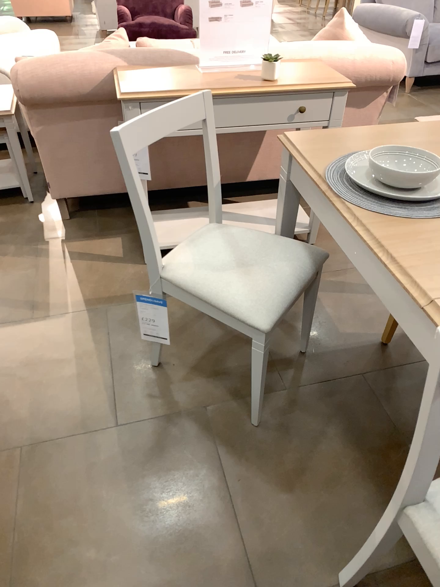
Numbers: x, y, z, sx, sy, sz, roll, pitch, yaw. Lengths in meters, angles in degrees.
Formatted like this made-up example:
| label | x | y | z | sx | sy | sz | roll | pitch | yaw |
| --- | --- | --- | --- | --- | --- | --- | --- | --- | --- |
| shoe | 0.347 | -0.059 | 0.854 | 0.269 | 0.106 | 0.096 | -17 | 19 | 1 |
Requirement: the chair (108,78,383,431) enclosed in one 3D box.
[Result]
| label | x | y | z | sx | sy | sz | roll | pitch | yaw |
| --- | --- | --- | --- | --- | --- | --- | --- | --- | --- |
| chair | 0.067 | -0.116 | 1.356 | 0.509 | 0.832 | 0.464 | 25 | 45 | 25 |
